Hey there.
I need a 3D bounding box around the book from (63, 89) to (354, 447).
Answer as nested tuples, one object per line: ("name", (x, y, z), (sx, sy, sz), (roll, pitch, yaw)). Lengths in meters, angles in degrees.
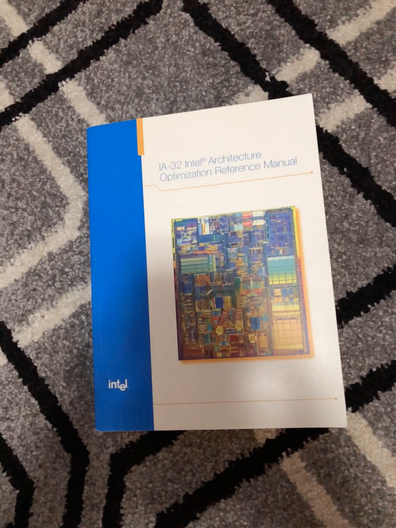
("book", (0.000, 0.005, 0.290), (0.170, 0.040, 0.210), (-5, 81, 10))
